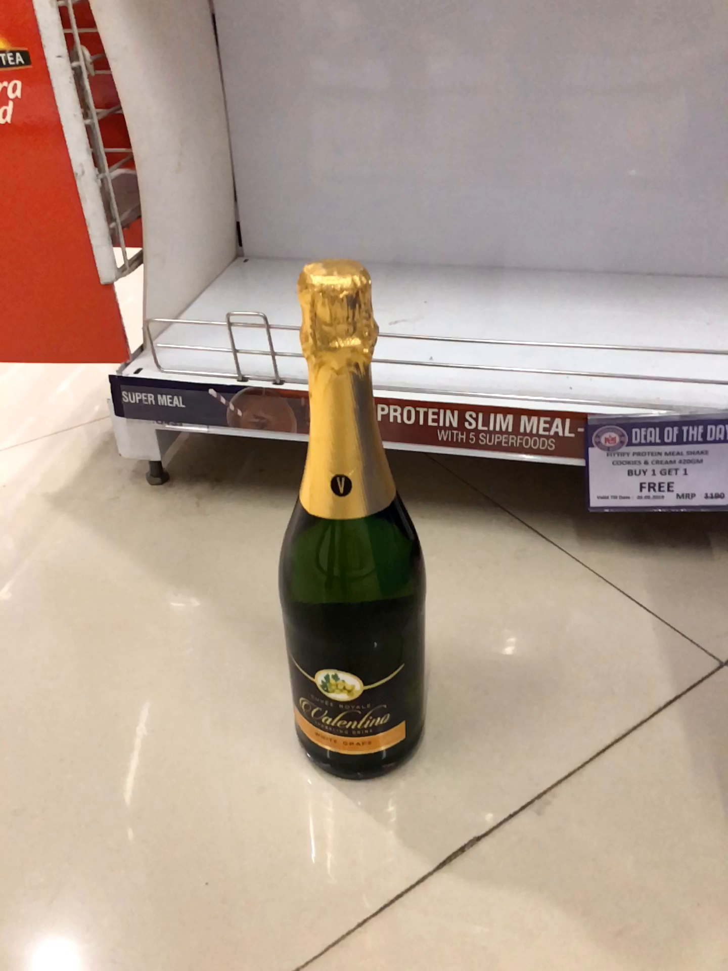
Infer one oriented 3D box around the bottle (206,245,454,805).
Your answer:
[{"bbox_3d":[-0.006,0.035,0.429,0.090,0.298,0.091,-1,35,1],"label":"bottle"}]
